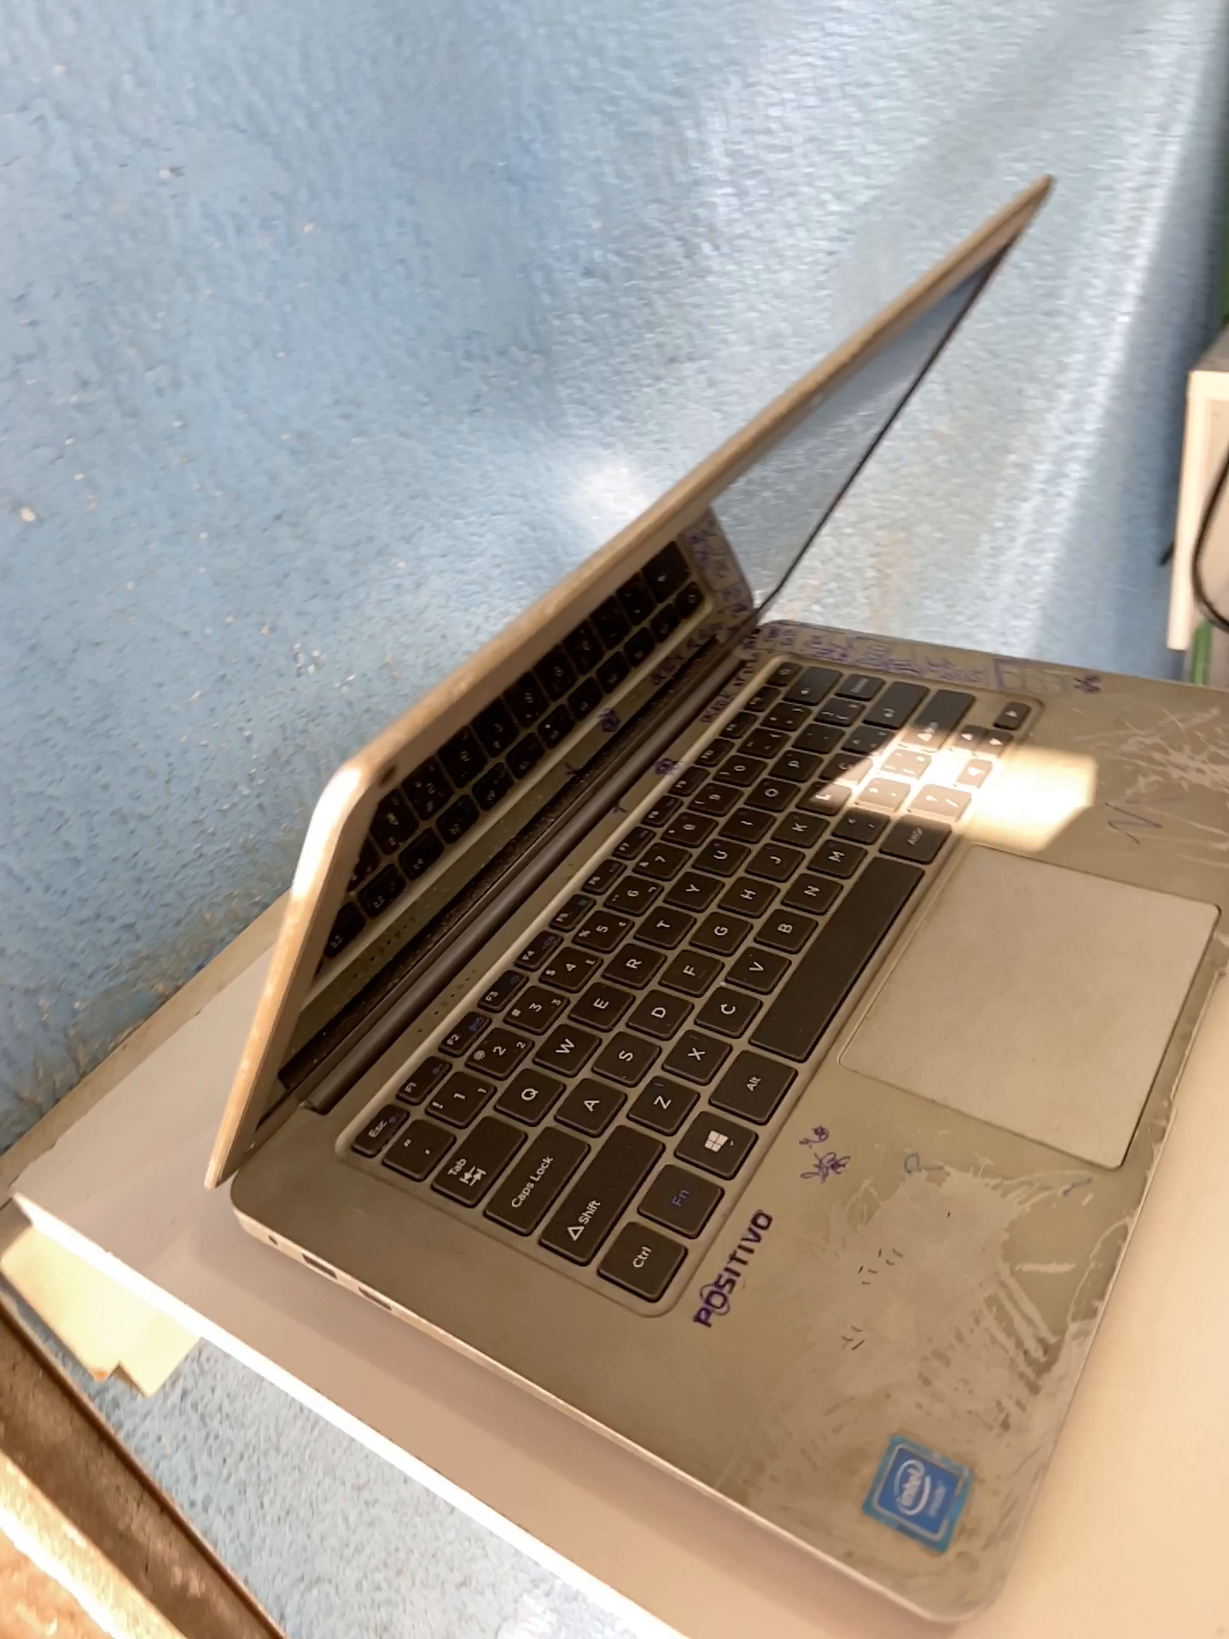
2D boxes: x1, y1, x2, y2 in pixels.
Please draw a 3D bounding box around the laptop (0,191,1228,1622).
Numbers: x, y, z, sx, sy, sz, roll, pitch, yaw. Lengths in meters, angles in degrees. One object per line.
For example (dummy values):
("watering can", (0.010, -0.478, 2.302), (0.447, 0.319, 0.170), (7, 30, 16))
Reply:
("laptop", (0.050, -0.033, 0.347), (0.212, 0.167, 0.328), (14, 44, 32))
